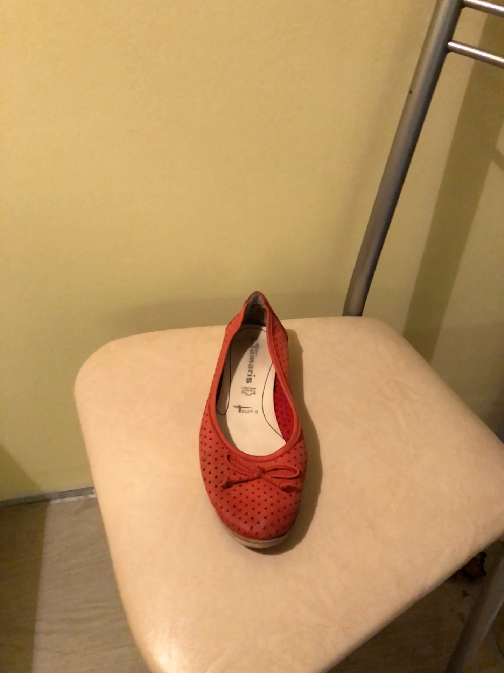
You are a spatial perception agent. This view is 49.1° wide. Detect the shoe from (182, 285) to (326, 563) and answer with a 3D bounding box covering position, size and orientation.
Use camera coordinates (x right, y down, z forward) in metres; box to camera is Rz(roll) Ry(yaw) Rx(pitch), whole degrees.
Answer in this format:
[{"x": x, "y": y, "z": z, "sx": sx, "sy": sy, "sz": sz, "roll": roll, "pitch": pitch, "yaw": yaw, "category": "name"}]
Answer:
[{"x": 0.005, "y": 0.062, "z": 0.501, "sx": 0.100, "sy": 0.080, "sz": 0.252, "roll": 4, "pitch": 41, "yaw": 0, "category": "shoe"}]
